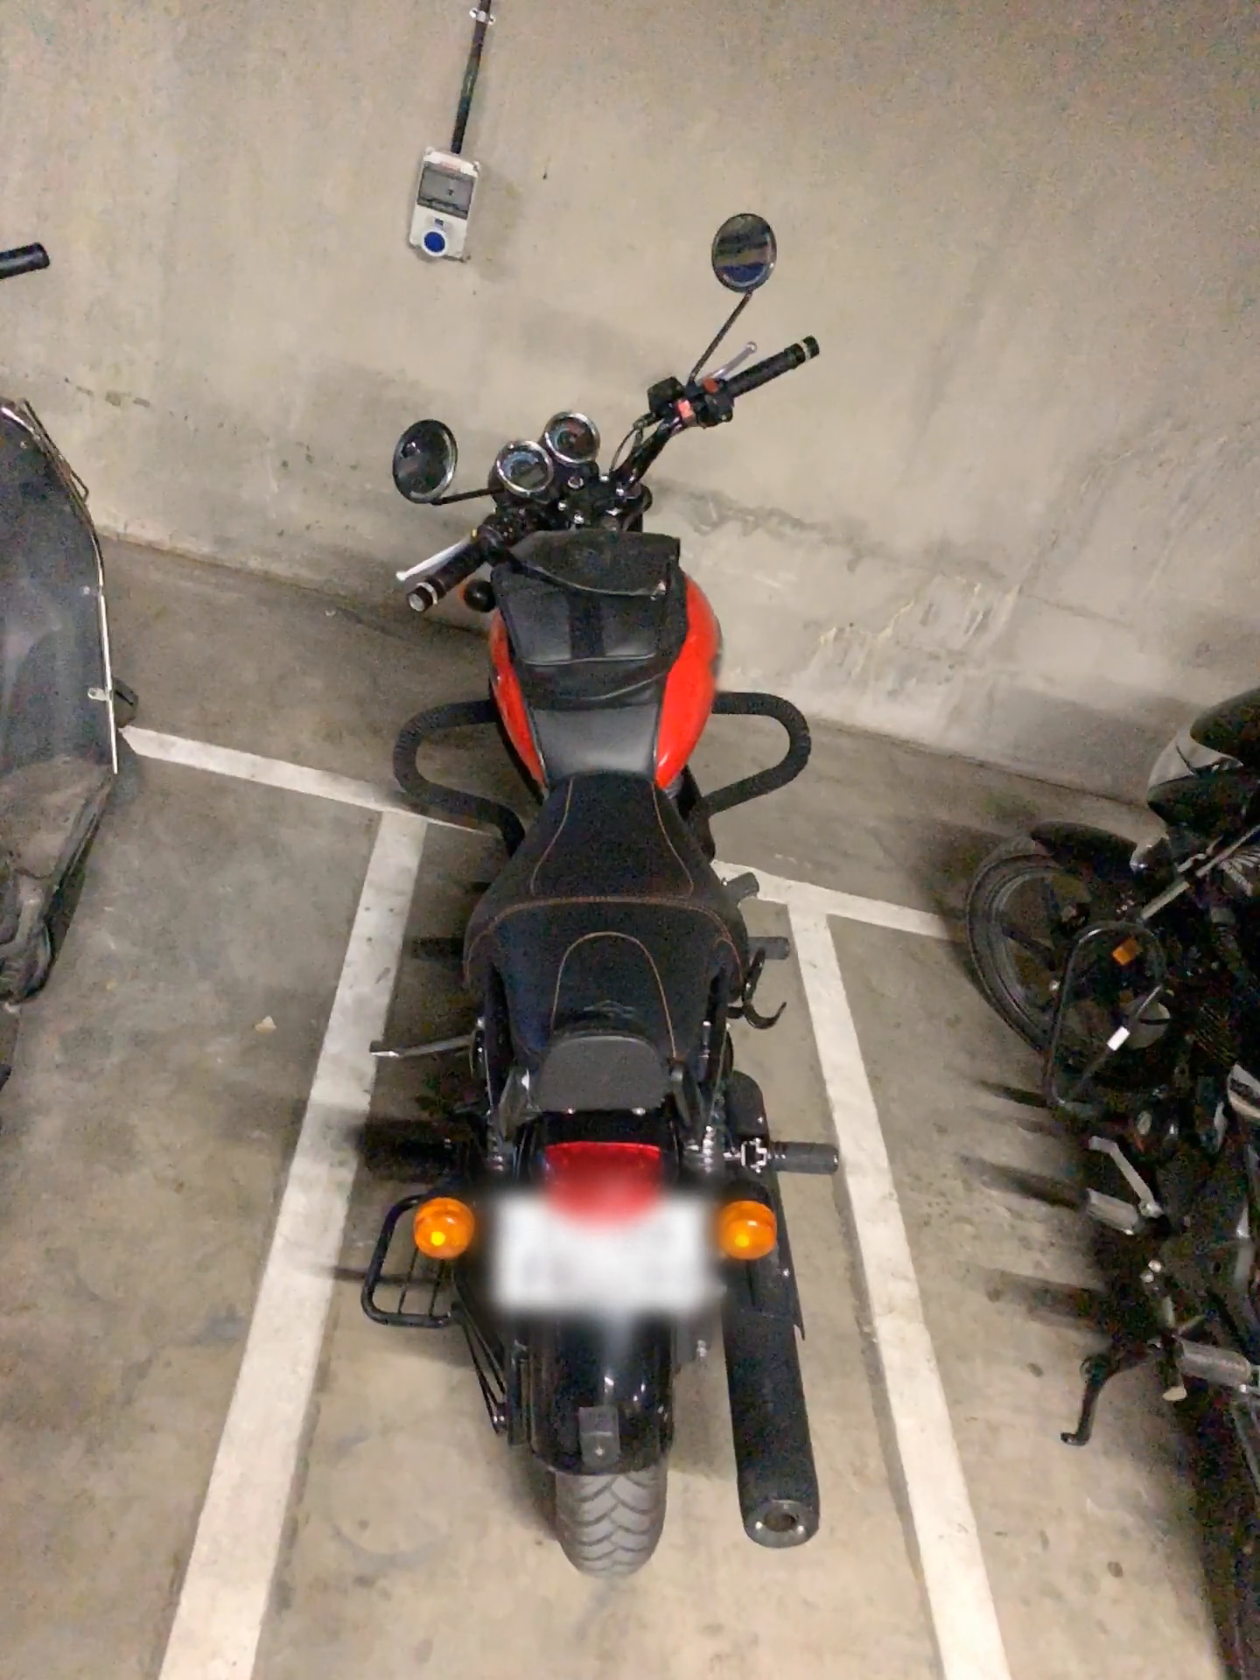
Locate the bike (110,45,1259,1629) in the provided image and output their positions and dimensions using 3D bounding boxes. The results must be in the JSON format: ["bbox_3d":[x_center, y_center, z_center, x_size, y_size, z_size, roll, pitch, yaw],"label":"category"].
[{"bbox_3d":[-0.179,-0.149,1.926,0.829,1.302,1.842,8,37,-19],"label":"bike"}]
